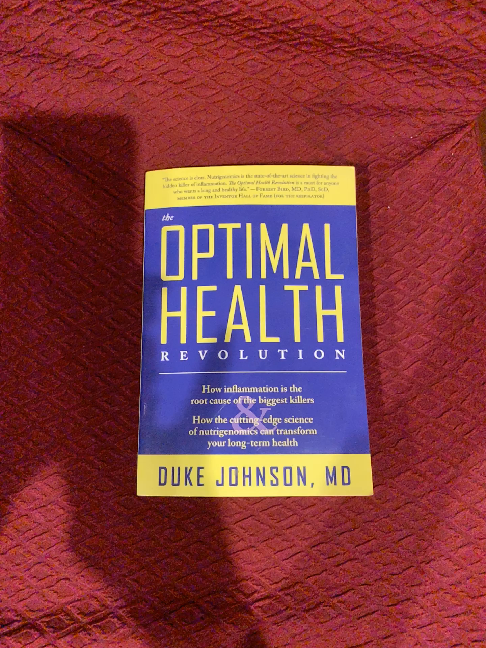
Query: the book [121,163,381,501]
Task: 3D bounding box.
[{"bbox_3d":[0.006,0.004,0.357,0.161,0.060,0.222,0,81,1],"label":"book"}]
